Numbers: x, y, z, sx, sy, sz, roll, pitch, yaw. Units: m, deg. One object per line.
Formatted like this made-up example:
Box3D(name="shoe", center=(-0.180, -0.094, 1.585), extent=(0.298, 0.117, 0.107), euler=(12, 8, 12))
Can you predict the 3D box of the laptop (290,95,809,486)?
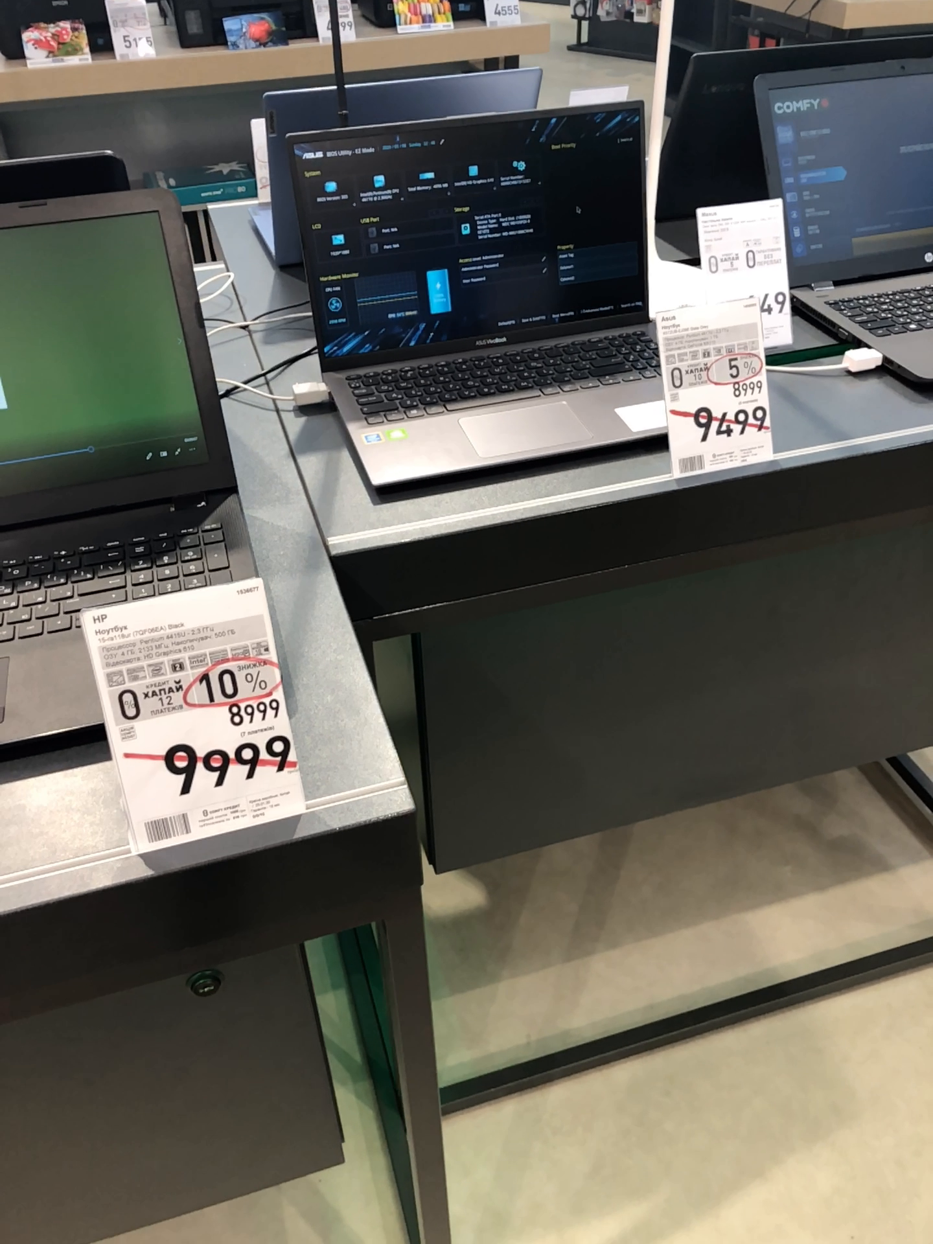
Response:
Box3D(name="laptop", center=(0.053, -0.314, 0.928), extent=(0.355, 0.200, 0.288), euler=(-12, 40, -10))
